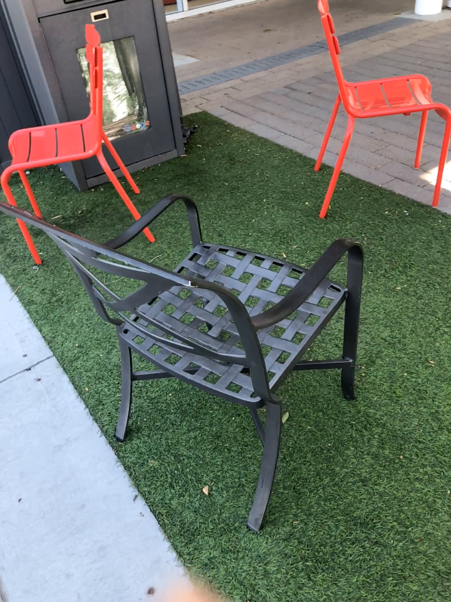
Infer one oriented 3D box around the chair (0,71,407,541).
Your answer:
[{"bbox_3d":[-0.026,-0.026,1.256,0.642,0.806,0.641,22,49,31],"label":"chair"}]
